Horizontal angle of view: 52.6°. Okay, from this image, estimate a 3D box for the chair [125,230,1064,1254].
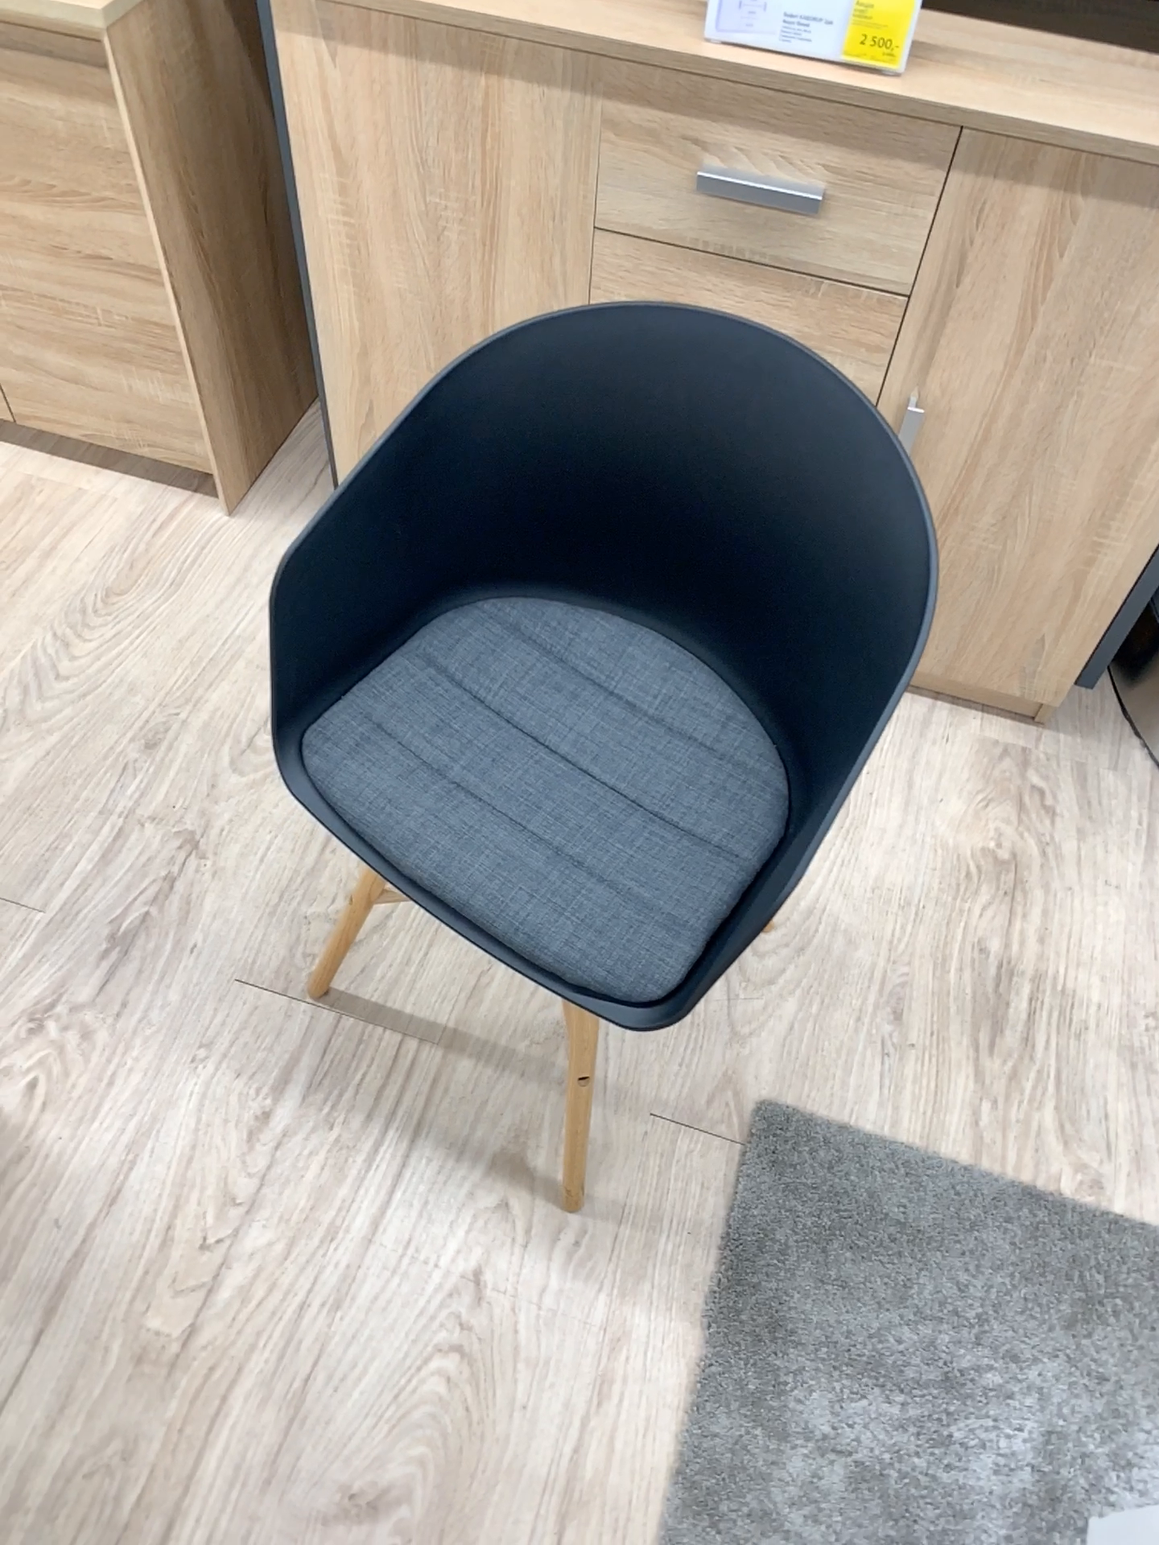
[{"bbox_3d":[0.015,0.009,1.233,0.511,0.787,0.551,32,58,19],"label":"chair"}]
